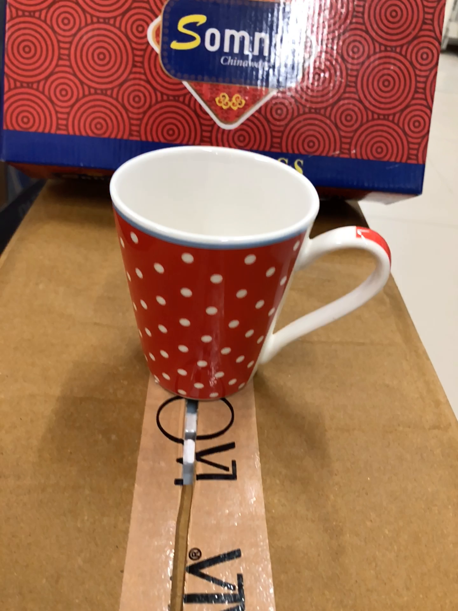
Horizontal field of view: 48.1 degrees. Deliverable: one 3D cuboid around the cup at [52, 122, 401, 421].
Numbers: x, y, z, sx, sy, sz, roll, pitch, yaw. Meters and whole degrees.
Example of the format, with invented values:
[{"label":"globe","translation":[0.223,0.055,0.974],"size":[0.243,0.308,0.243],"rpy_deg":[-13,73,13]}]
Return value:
[{"label":"cup","translation":[-0.001,-0.018,0.233],"size":[0.120,0.089,0.081],"rpy_deg":[9,37,2]}]
